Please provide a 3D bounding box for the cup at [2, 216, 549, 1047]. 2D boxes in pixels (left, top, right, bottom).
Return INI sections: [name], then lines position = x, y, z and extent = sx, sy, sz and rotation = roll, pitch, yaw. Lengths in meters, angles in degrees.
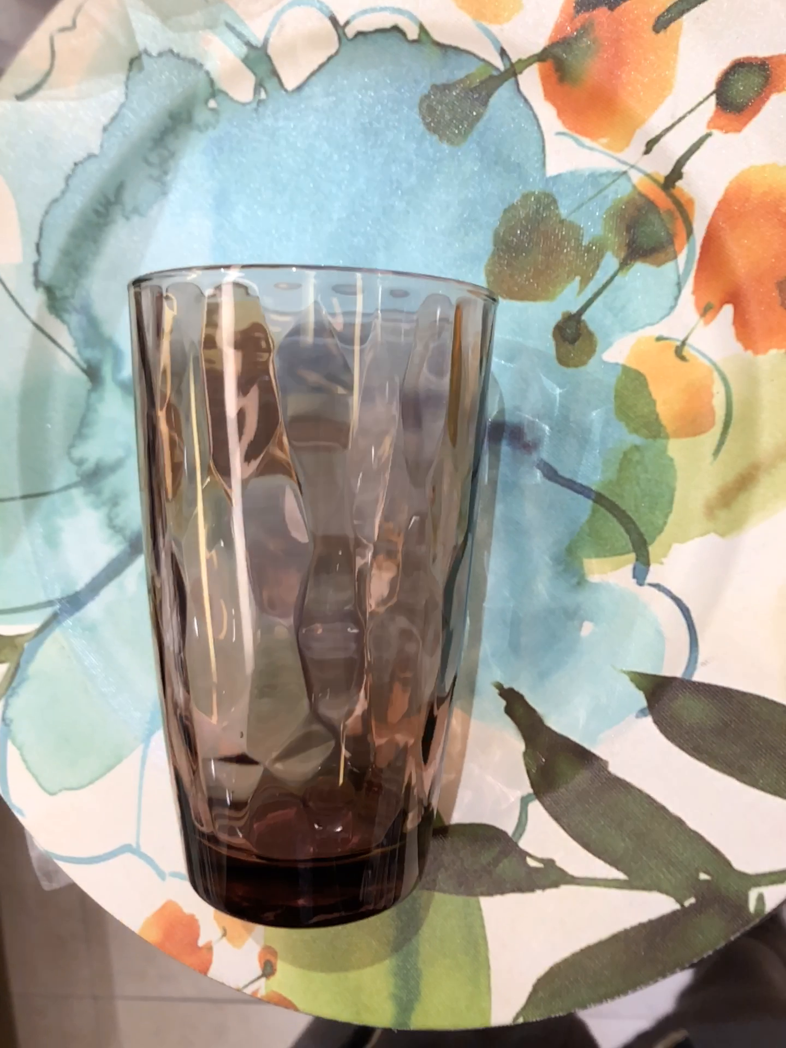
[cup]
position = -0.022, 0.020, 0.205
extent = 0.090, 0.080, 0.150
rotation = 4, 91, 22
